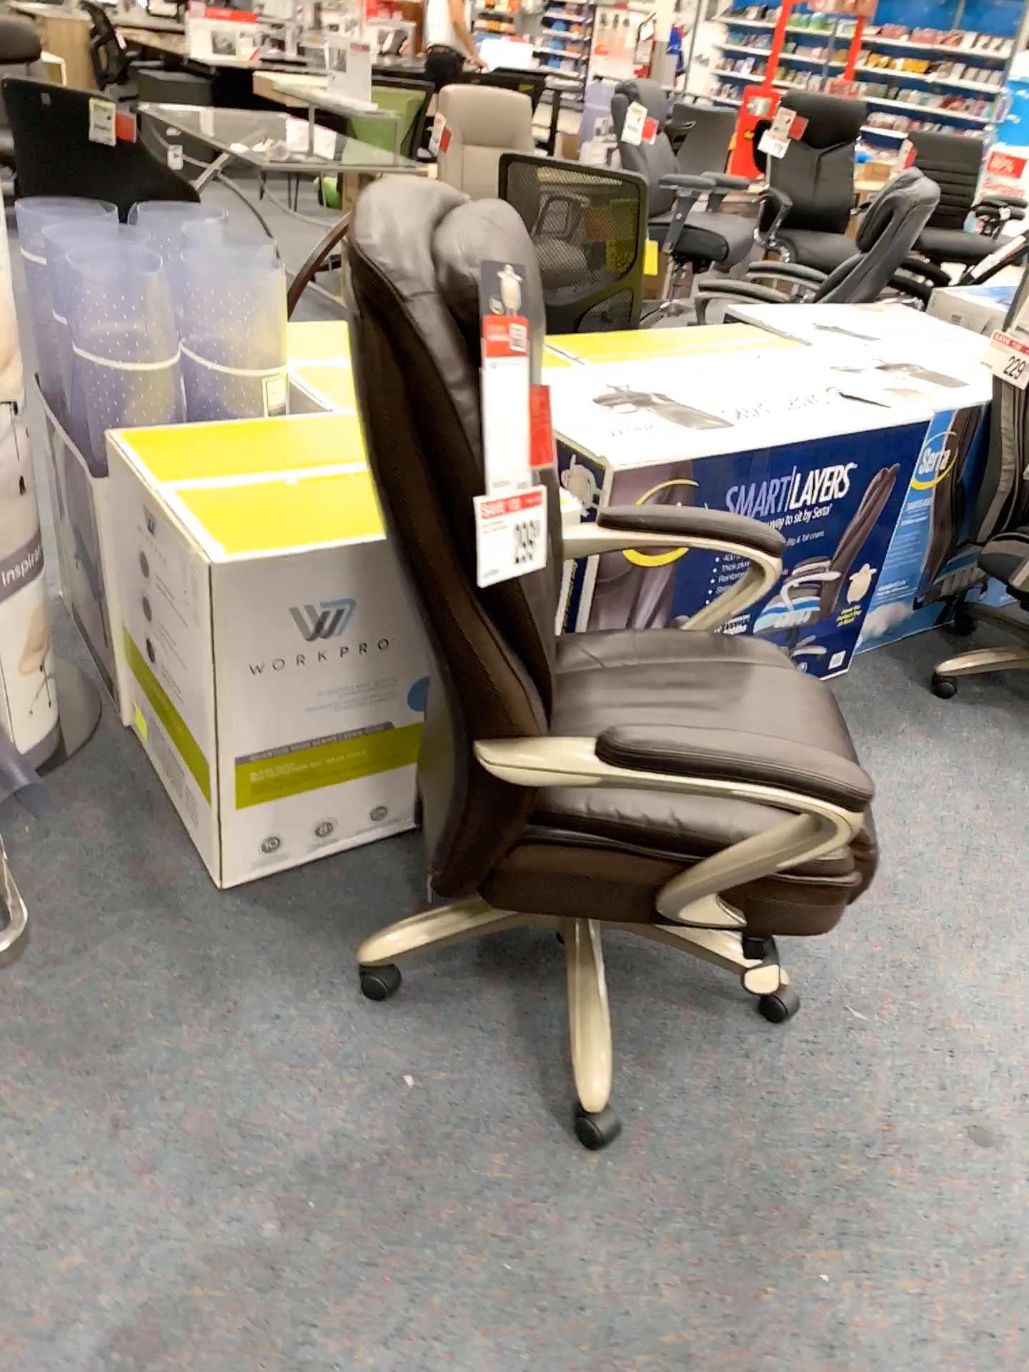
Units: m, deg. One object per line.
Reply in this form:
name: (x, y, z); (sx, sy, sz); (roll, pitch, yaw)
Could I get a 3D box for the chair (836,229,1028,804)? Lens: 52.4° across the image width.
chair: (1.398, -0.428, 2.403); (0.703, 0.994, 0.757); (-13, 38, -29)

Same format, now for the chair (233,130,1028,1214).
chair: (0.168, -0.047, 1.443); (0.844, 1.104, 0.785); (11, 33, 3)
